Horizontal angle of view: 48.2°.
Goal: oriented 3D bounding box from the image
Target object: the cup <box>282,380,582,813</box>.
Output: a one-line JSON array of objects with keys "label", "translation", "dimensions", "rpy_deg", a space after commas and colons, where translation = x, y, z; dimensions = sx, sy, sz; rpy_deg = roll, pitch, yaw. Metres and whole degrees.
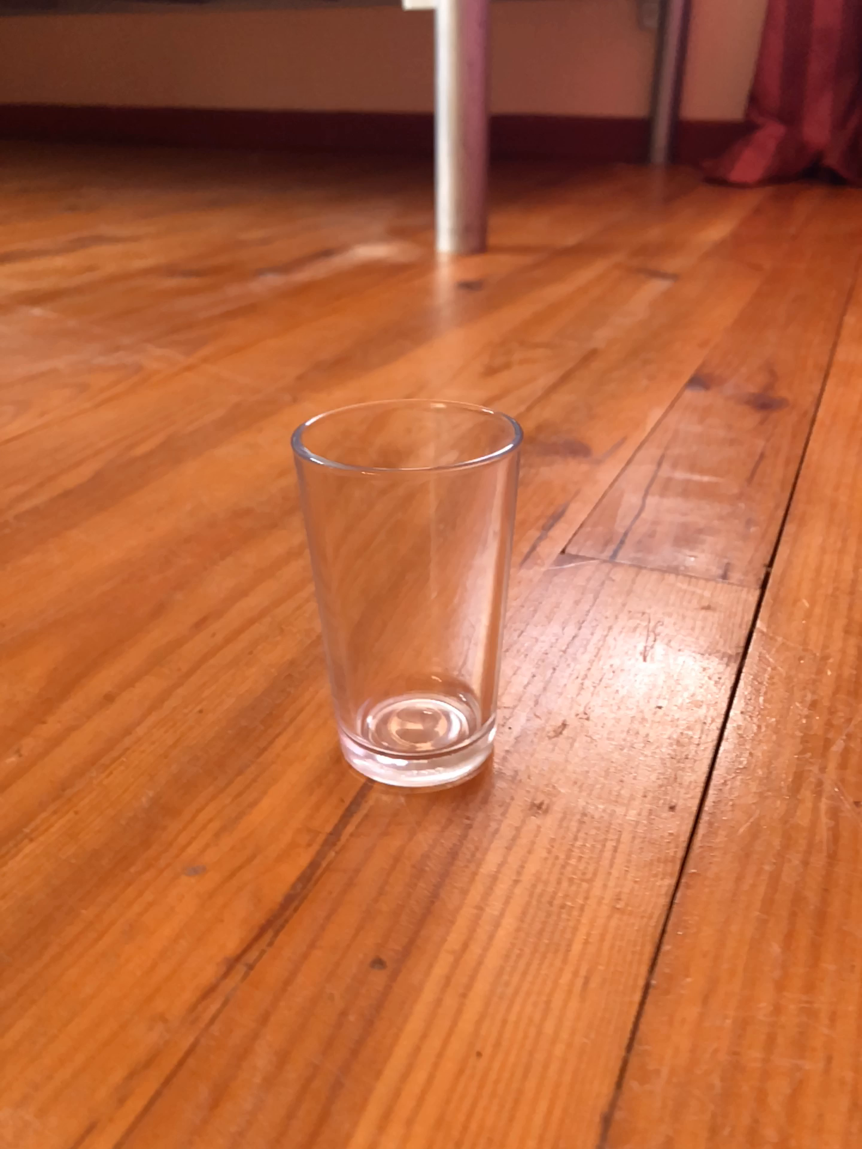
[{"label": "cup", "translation": [-0.002, 0.002, 0.225], "dimensions": [0.051, 0.079, 0.055], "rpy_deg": [0, 26, 0]}]
